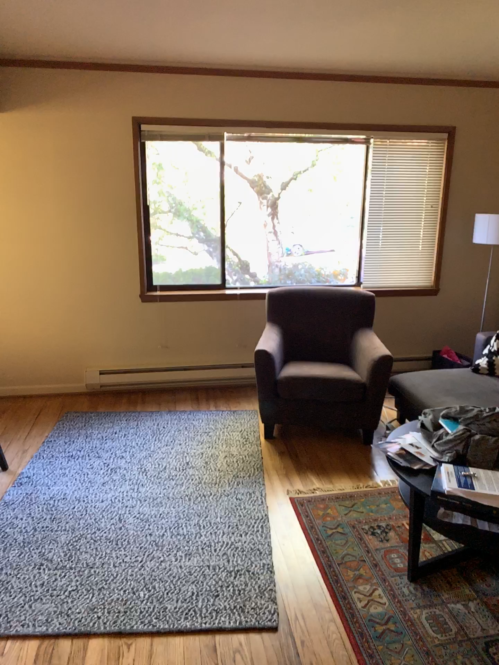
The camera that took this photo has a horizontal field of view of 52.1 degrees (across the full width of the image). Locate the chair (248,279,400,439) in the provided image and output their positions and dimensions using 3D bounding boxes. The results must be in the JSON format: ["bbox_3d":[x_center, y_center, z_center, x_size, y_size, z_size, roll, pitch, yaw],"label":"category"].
[{"bbox_3d":[0.466,0.130,3.497,0.880,0.877,0.802,2,12,4],"label":"chair"}]
